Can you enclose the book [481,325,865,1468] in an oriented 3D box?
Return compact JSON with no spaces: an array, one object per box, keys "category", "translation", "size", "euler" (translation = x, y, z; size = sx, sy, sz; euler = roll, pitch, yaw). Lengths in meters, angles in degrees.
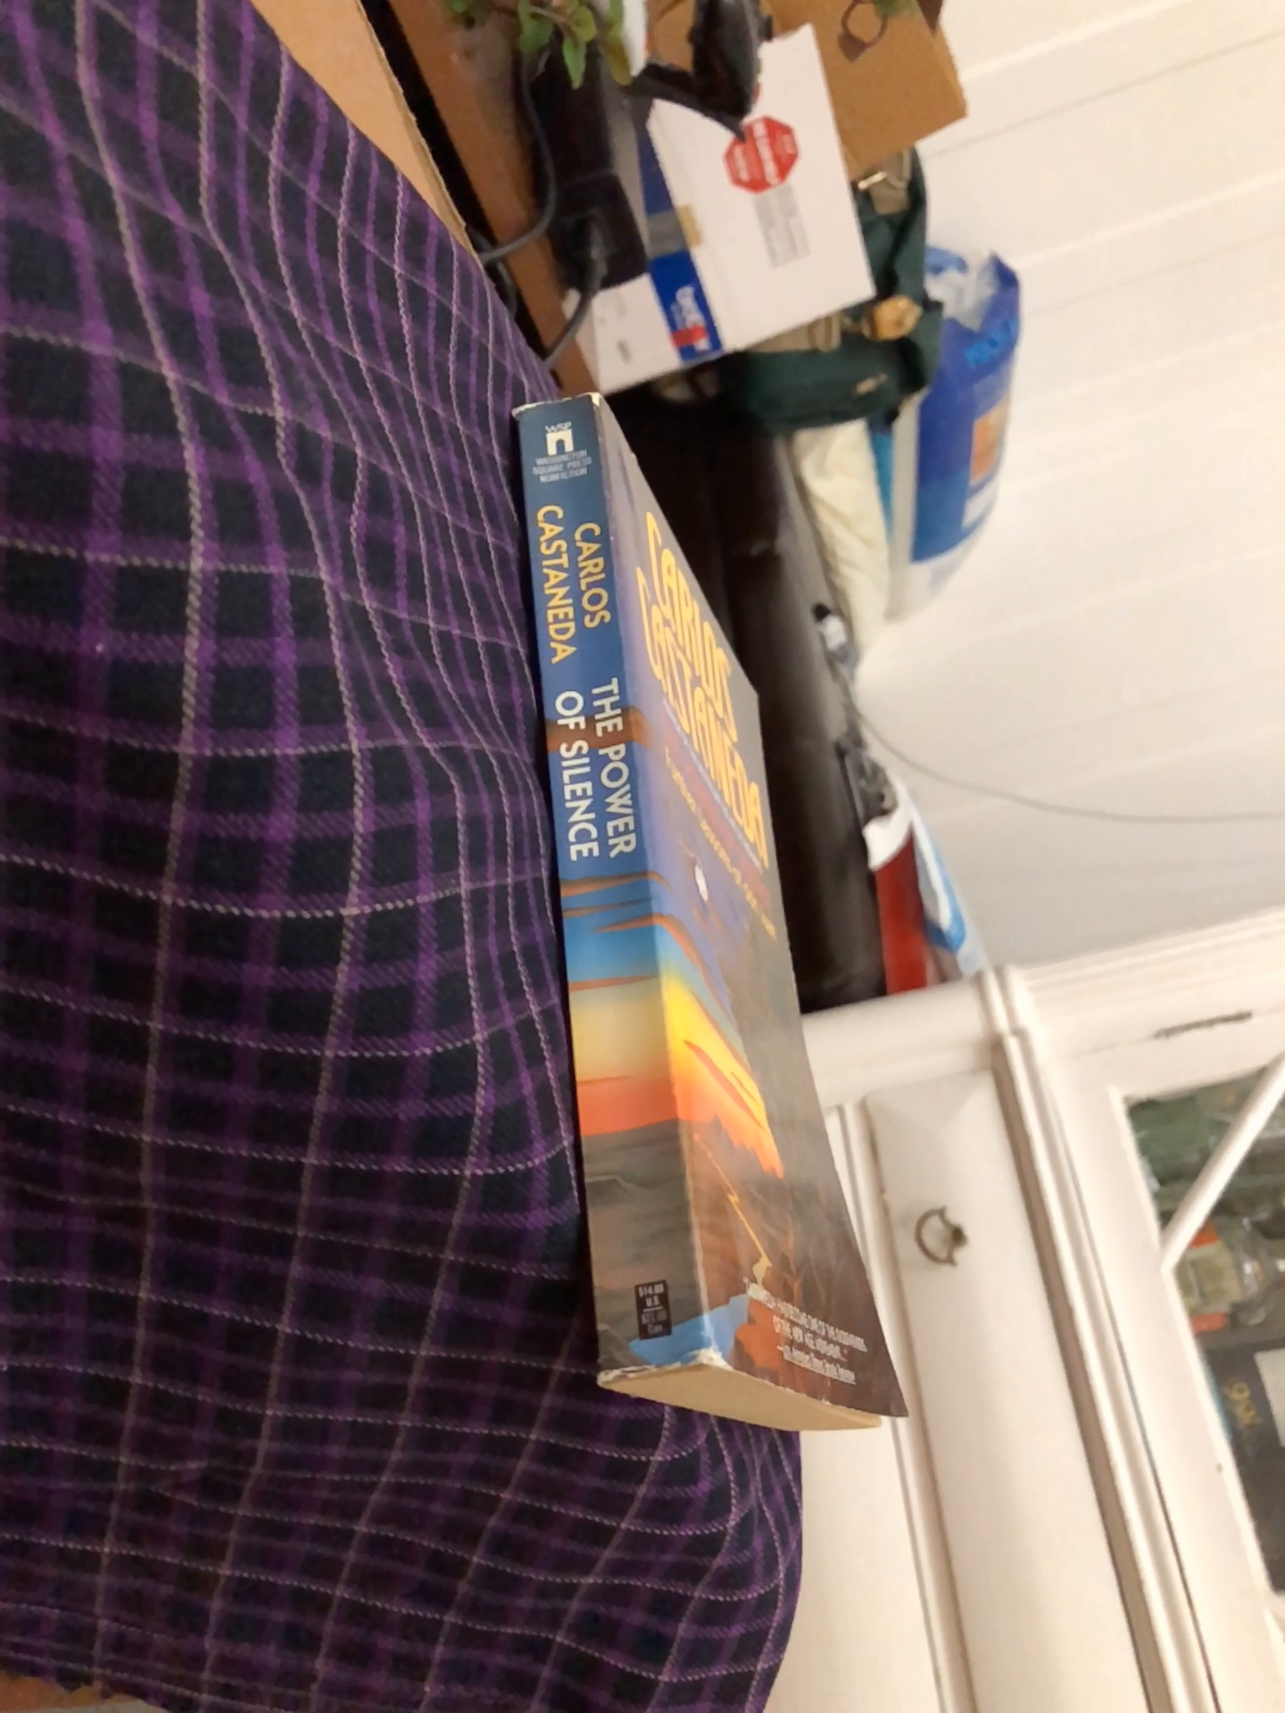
[{"category":"book","translation":[0.008,0.015,0.325],"size":[0.150,0.020,0.220],"euler":[53,27,-58]}]
